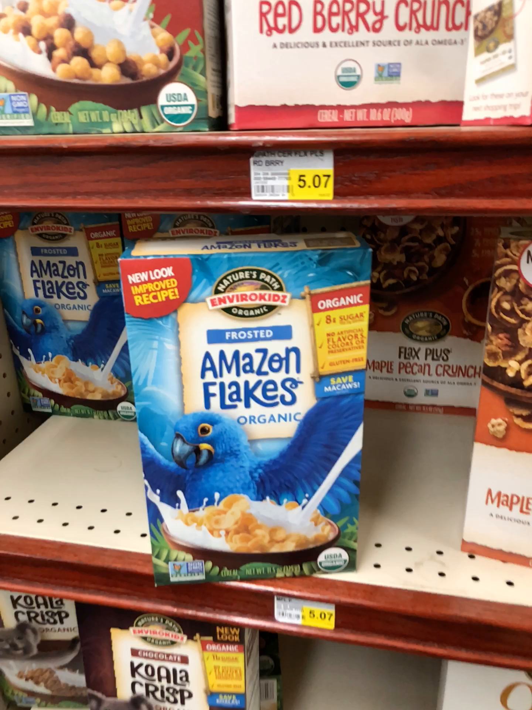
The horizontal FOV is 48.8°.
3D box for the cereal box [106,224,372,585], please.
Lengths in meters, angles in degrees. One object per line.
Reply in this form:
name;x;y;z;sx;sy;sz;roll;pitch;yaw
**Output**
cereal box;-0.013;0.043;0.433;0.160;0.259;0.060;-3;25;-2
